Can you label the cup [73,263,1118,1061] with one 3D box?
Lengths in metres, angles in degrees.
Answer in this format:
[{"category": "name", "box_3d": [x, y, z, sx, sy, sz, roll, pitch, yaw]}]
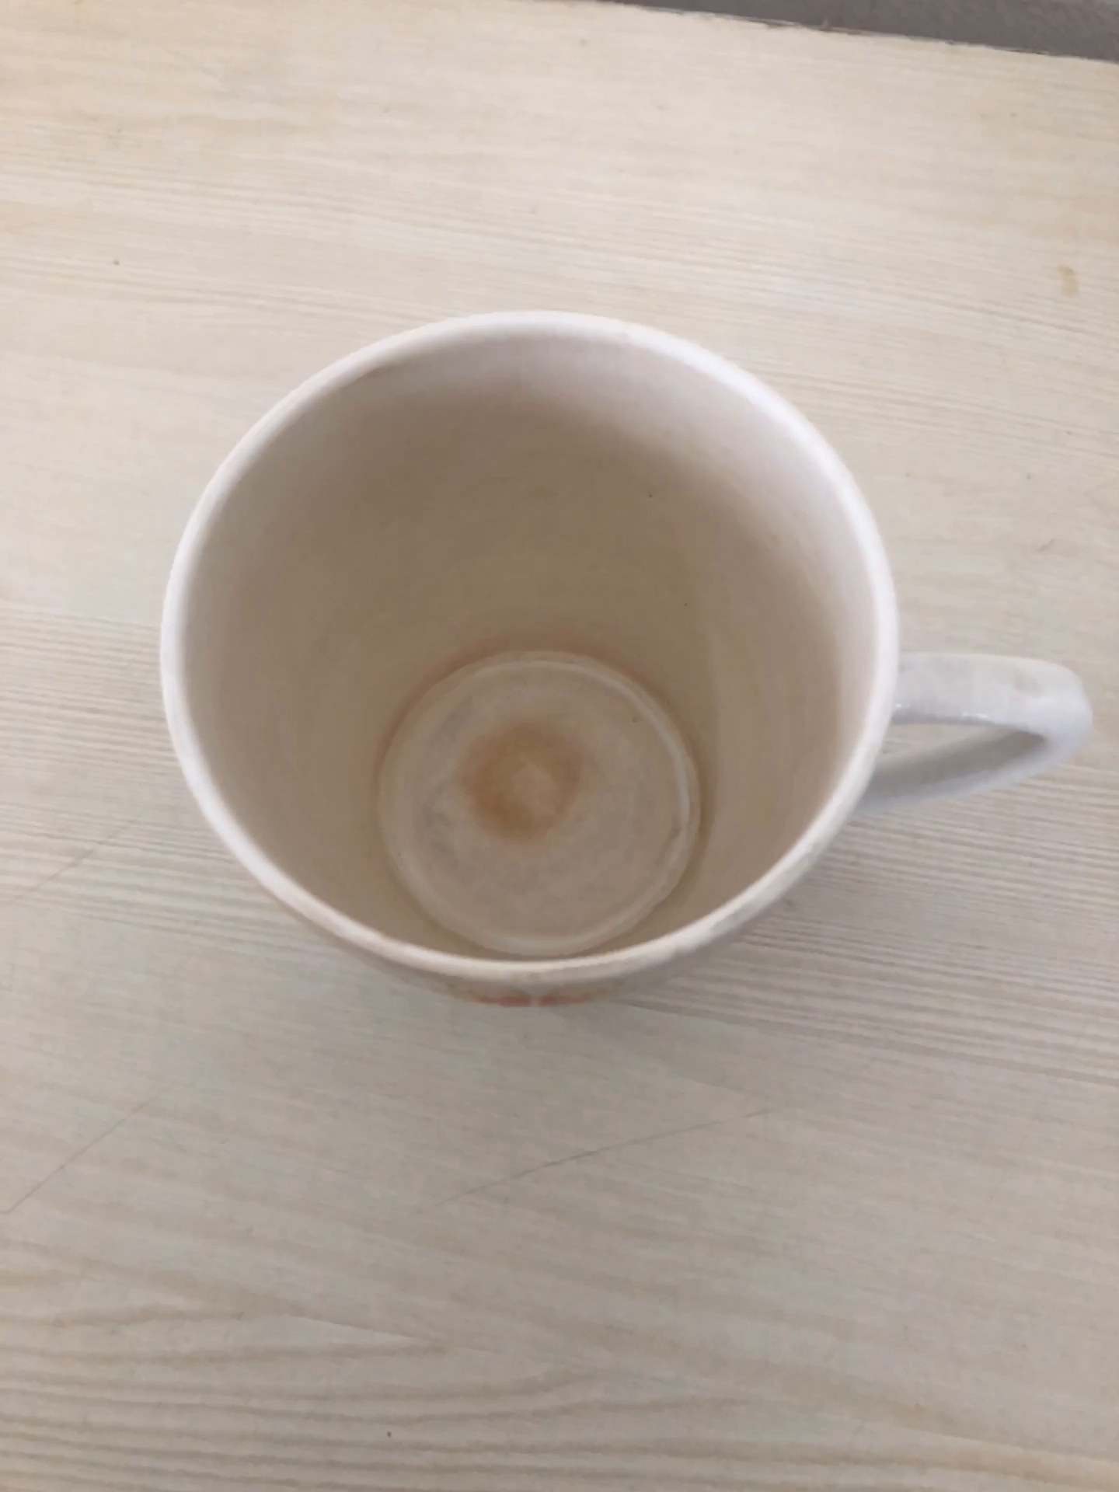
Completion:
[{"category": "cup", "box_3d": [0.014, -0.004, 0.155, 0.110, 0.070, 0.070, 3, 71, 1]}]
